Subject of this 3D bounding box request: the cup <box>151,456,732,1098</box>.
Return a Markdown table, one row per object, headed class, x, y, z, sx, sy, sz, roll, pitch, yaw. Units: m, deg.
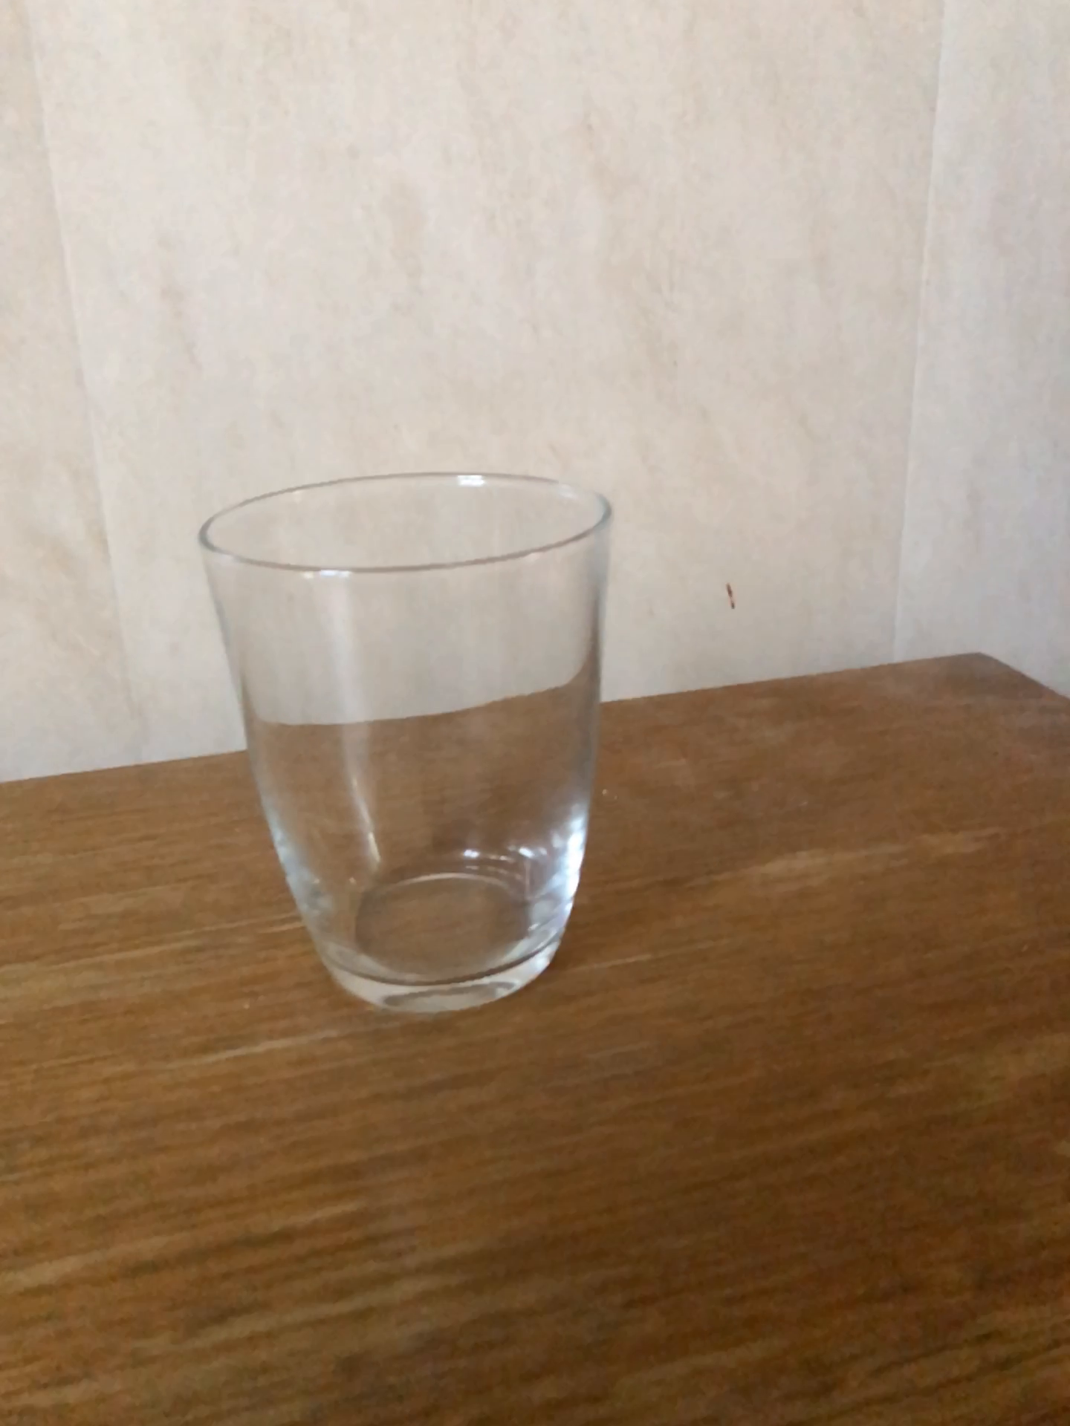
| class | x | y | z | sx | sy | sz | roll | pitch | yaw |
| --- | --- | --- | --- | --- | --- | --- | --- | --- | --- |
| cup | -0.017 | 0.003 | 0.210 | 0.070 | 0.080 | 0.070 | -1 | 21 | 0 |
